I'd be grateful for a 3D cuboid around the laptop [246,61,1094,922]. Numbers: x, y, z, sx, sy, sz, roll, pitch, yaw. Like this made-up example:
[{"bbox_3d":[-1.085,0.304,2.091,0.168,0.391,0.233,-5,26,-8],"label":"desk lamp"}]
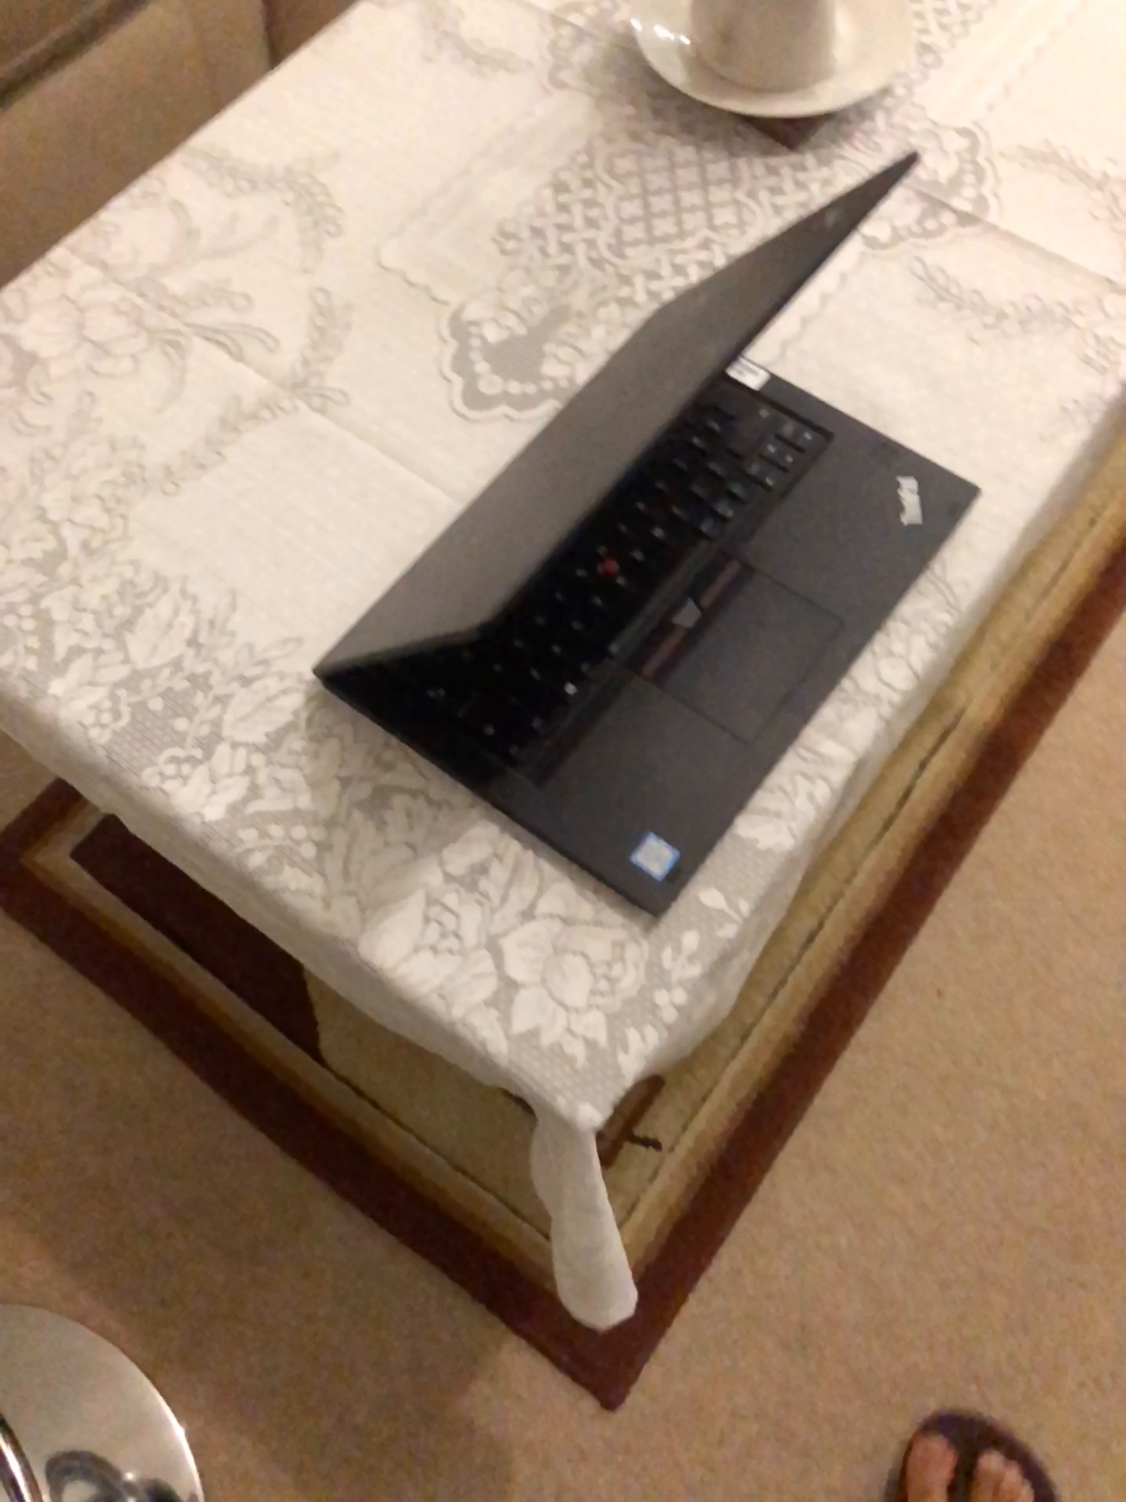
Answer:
[{"bbox_3d":[0.053,-0.126,0.606,0.220,0.174,0.309,35,71,15],"label":"laptop"}]
